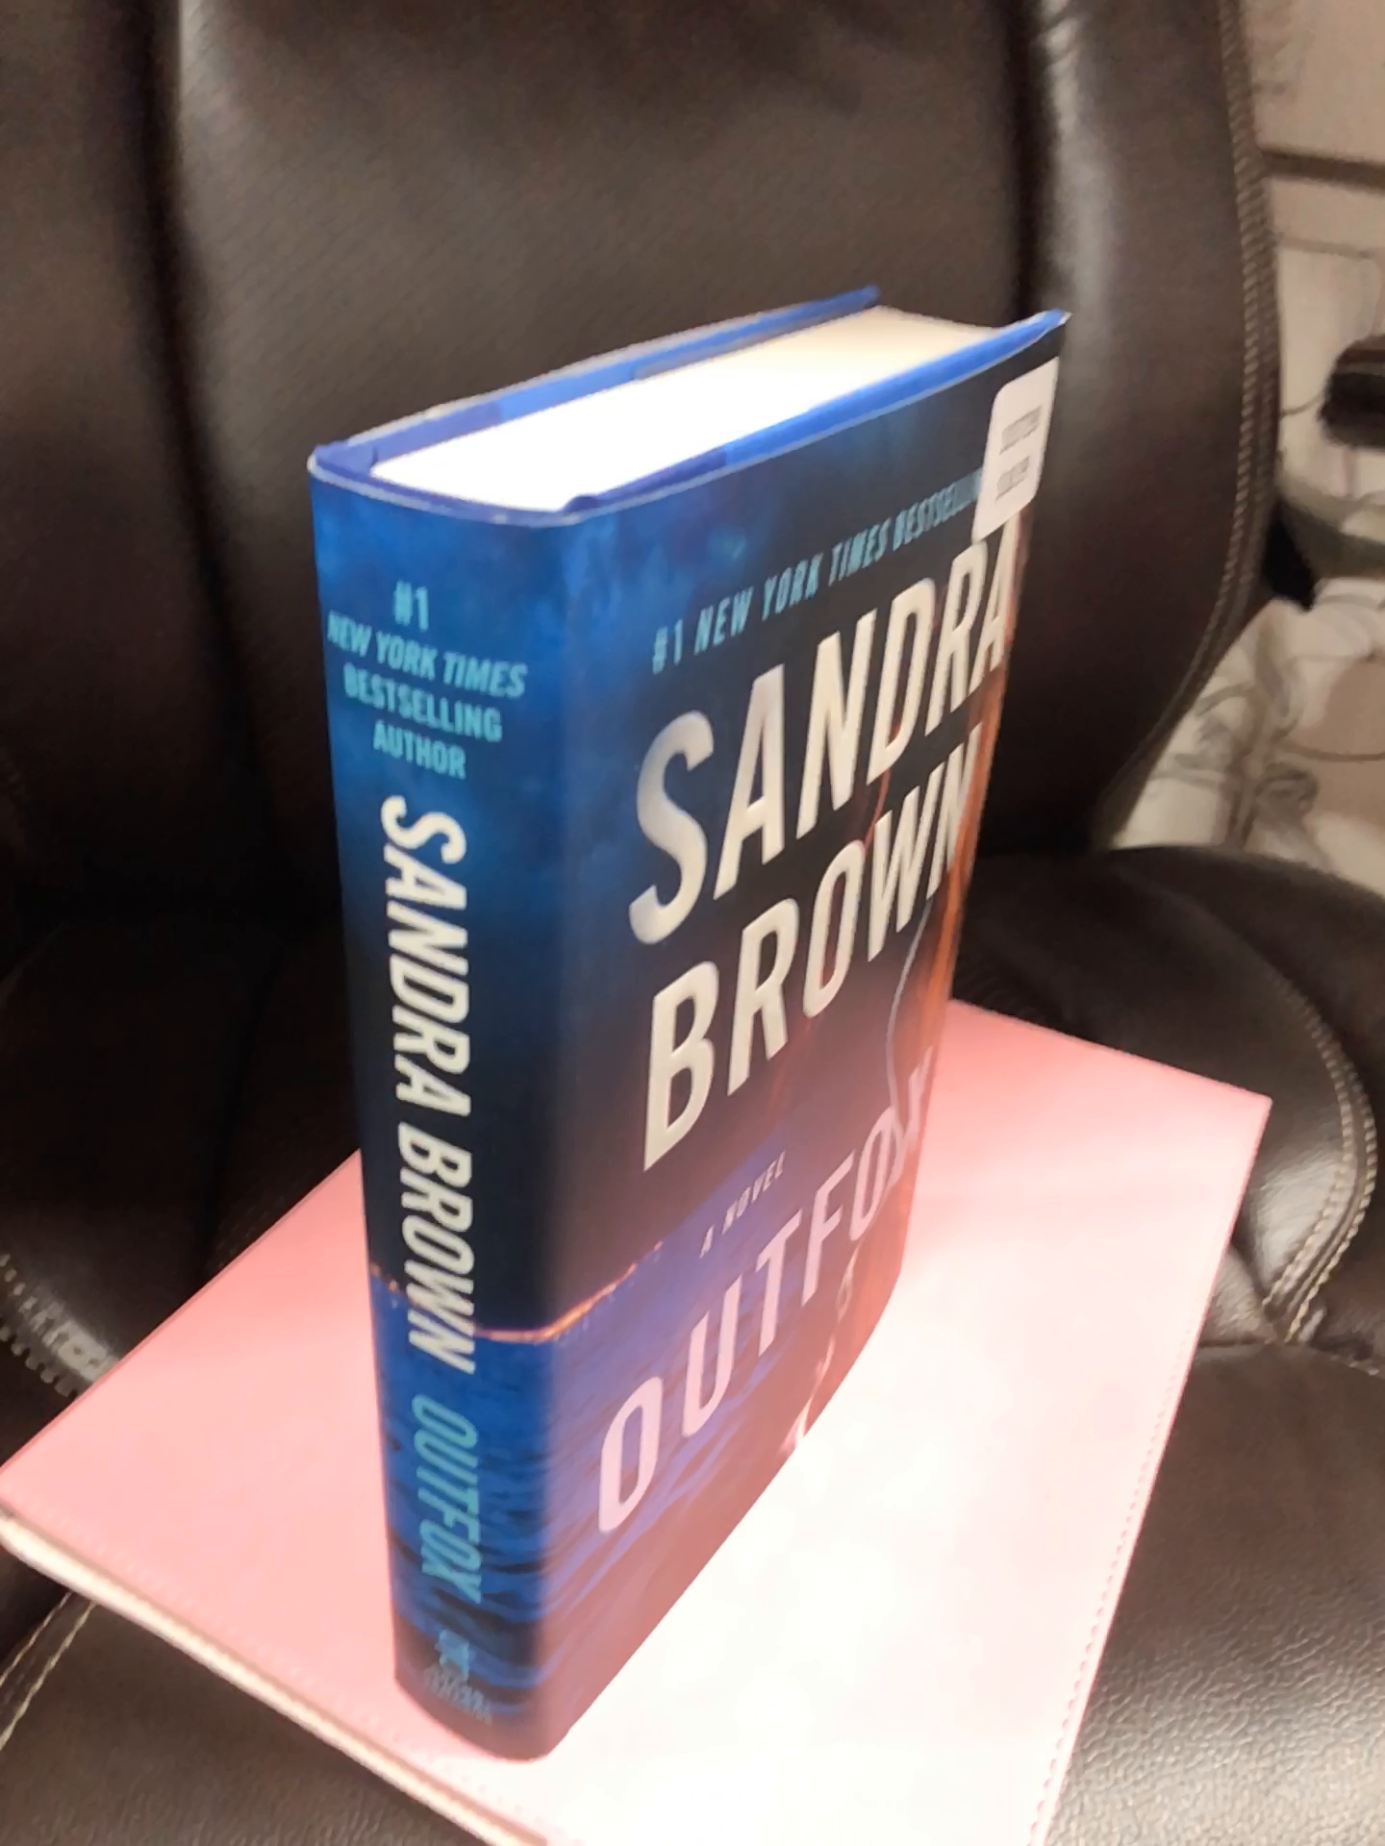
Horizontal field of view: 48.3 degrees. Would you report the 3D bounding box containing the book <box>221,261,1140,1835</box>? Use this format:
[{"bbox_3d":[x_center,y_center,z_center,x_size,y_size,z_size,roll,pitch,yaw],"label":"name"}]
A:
[{"bbox_3d":[0.004,0.017,0.276,0.048,0.228,0.168,22,36,23],"label":"book"}]
